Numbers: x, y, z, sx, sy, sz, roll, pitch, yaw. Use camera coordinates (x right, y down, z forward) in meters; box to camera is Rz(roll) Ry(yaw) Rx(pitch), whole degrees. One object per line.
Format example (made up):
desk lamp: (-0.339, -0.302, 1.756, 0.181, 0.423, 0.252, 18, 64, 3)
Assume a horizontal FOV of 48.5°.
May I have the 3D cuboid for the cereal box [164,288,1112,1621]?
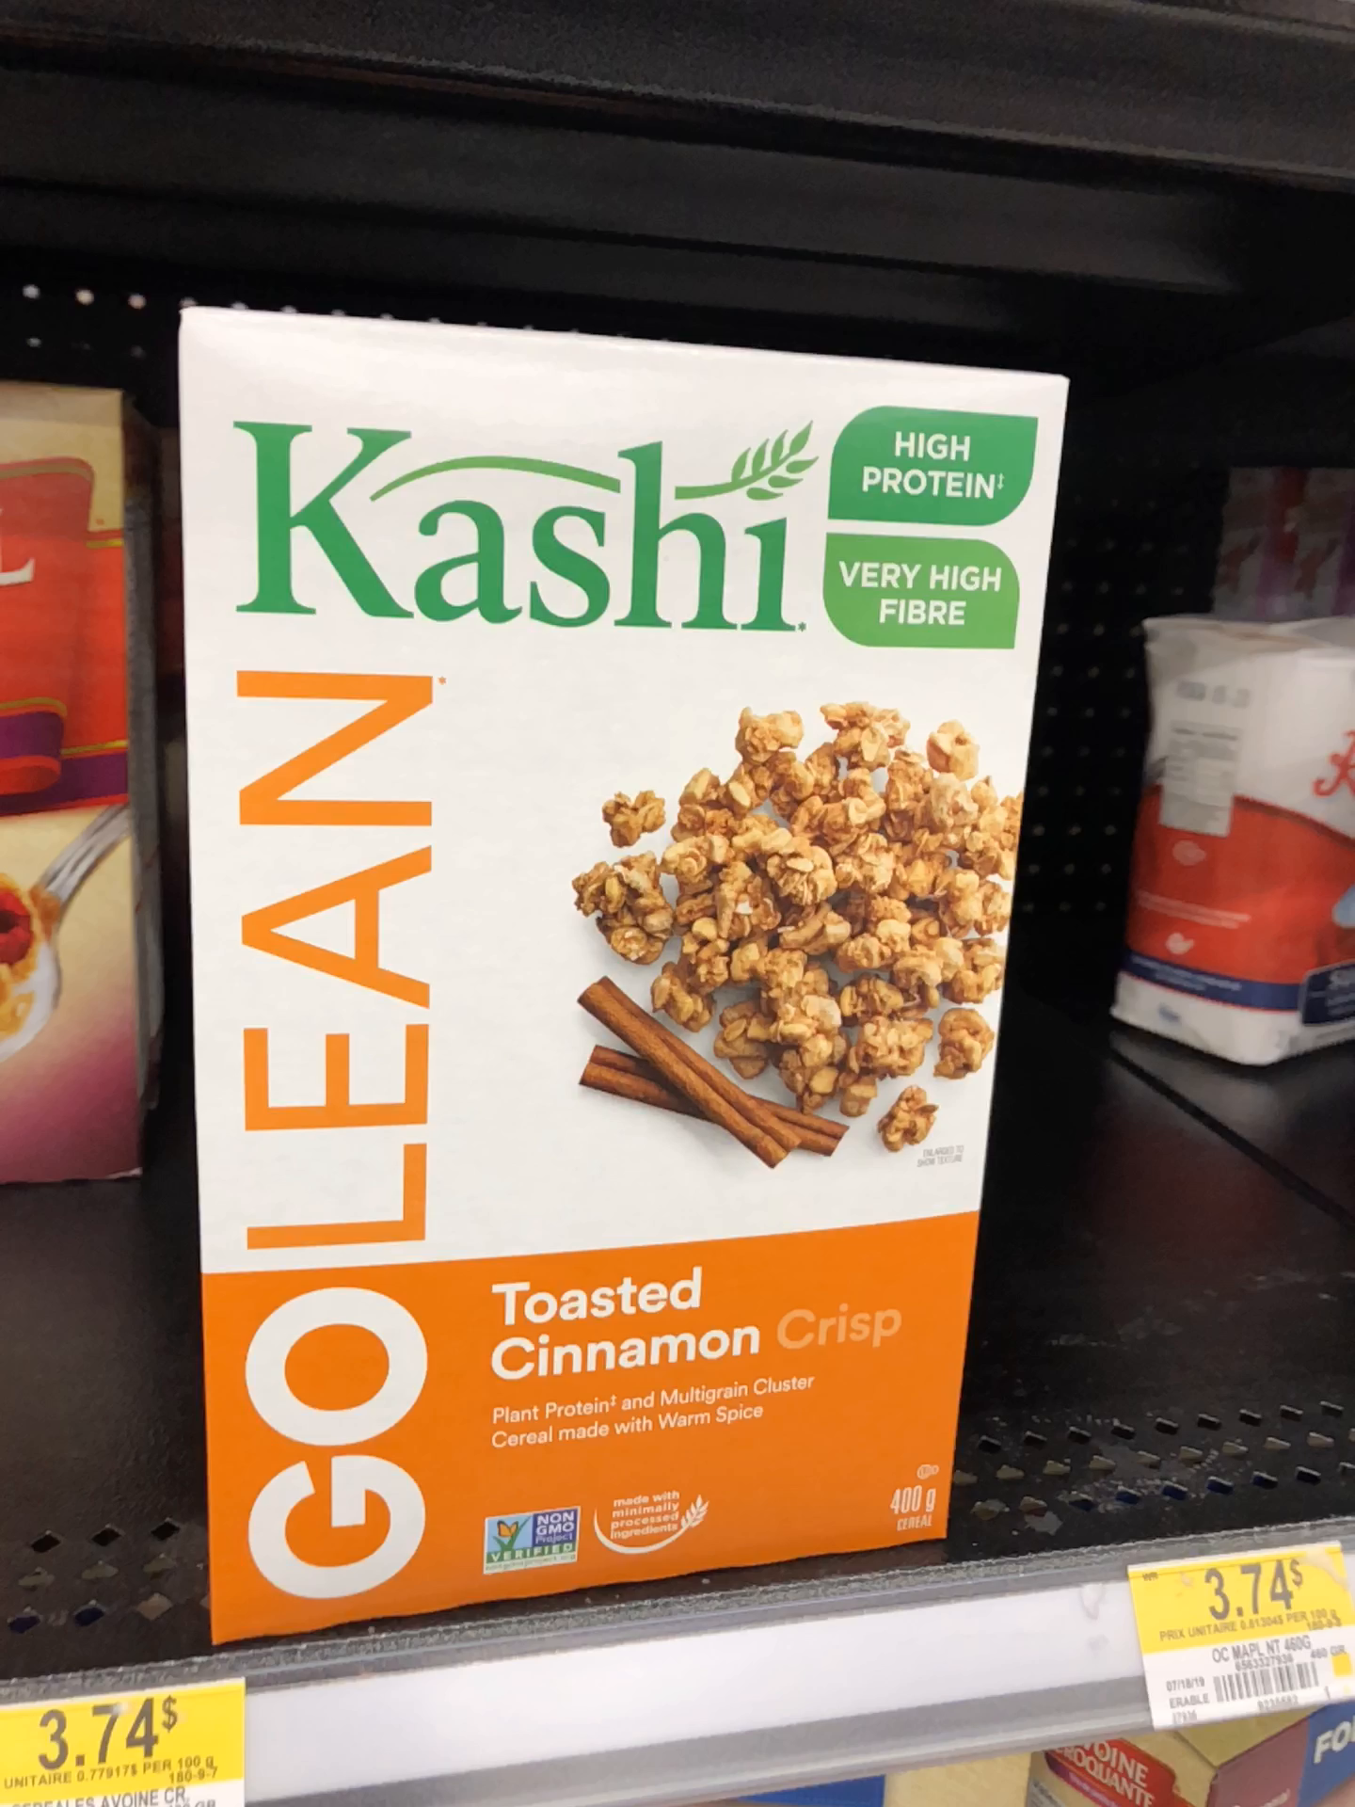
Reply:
cereal box: (-0.013, 0.014, 0.315, 0.170, 0.249, 0.050, -1, 14, -15)
